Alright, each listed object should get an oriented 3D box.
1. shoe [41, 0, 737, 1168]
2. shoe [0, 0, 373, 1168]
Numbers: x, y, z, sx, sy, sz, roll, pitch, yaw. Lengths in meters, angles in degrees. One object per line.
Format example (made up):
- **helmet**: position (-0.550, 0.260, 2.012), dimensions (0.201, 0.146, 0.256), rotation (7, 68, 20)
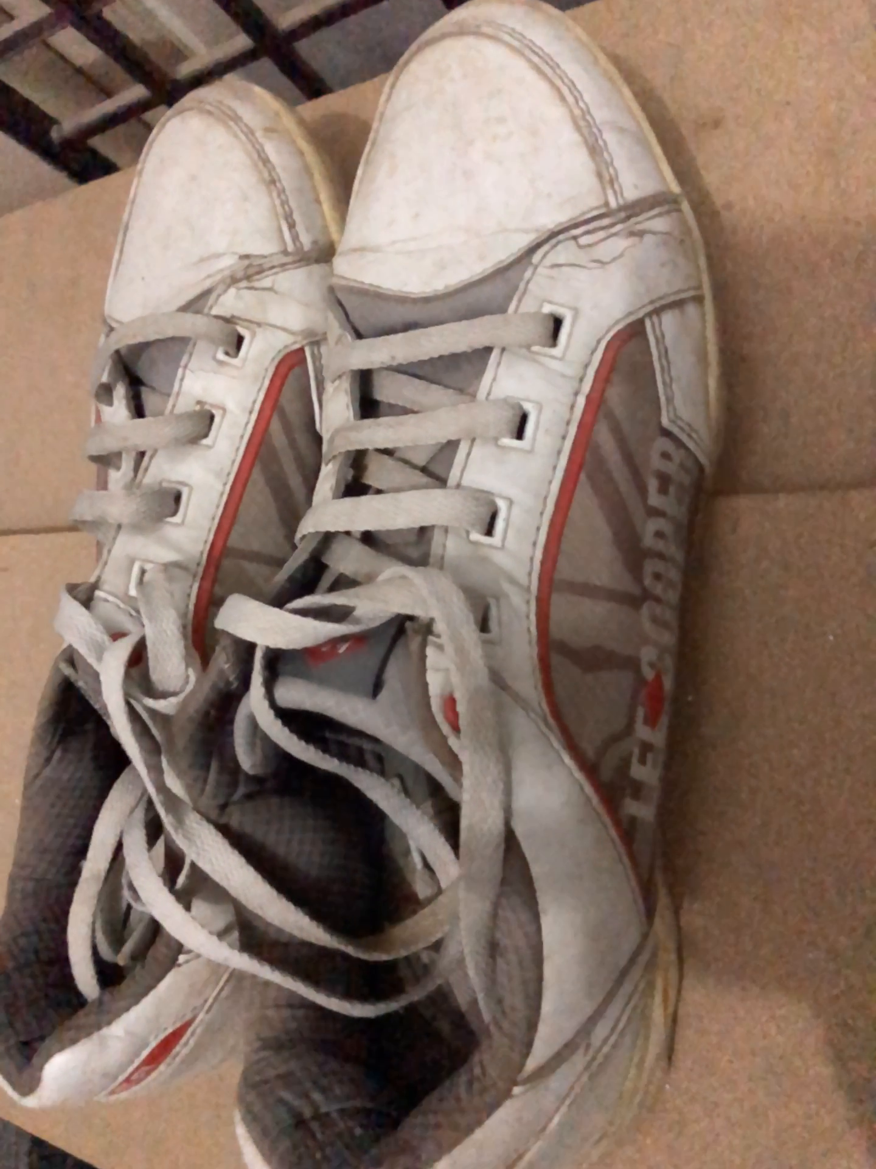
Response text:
- **shoe**: position (0.002, -0.010, 0.211), dimensions (0.100, 0.080, 0.270), rotation (-1, 79, 28)
- **shoe**: position (-0.093, -0.016, 0.263), dimensions (0.100, 0.080, 0.270), rotation (-1, 79, 28)
